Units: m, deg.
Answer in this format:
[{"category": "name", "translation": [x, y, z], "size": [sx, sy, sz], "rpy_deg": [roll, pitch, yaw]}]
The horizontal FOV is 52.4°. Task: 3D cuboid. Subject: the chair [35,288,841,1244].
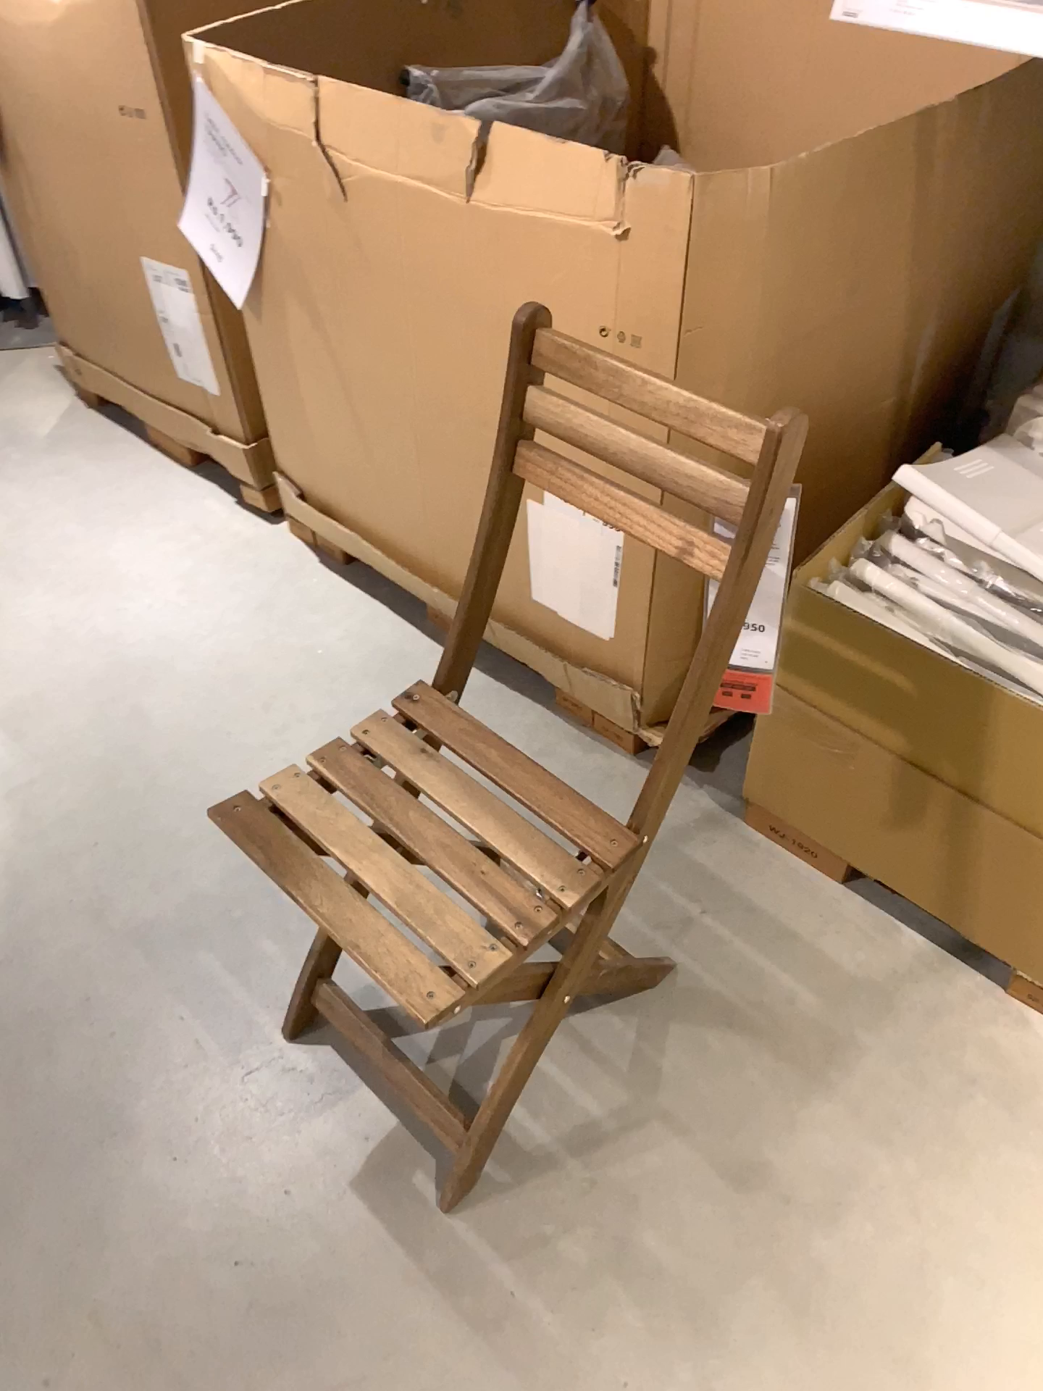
[{"category": "chair", "translation": [-0.053, 0.084, 1.110], "size": [0.401, 0.767, 0.511], "rpy_deg": [33, 52, 31]}]
